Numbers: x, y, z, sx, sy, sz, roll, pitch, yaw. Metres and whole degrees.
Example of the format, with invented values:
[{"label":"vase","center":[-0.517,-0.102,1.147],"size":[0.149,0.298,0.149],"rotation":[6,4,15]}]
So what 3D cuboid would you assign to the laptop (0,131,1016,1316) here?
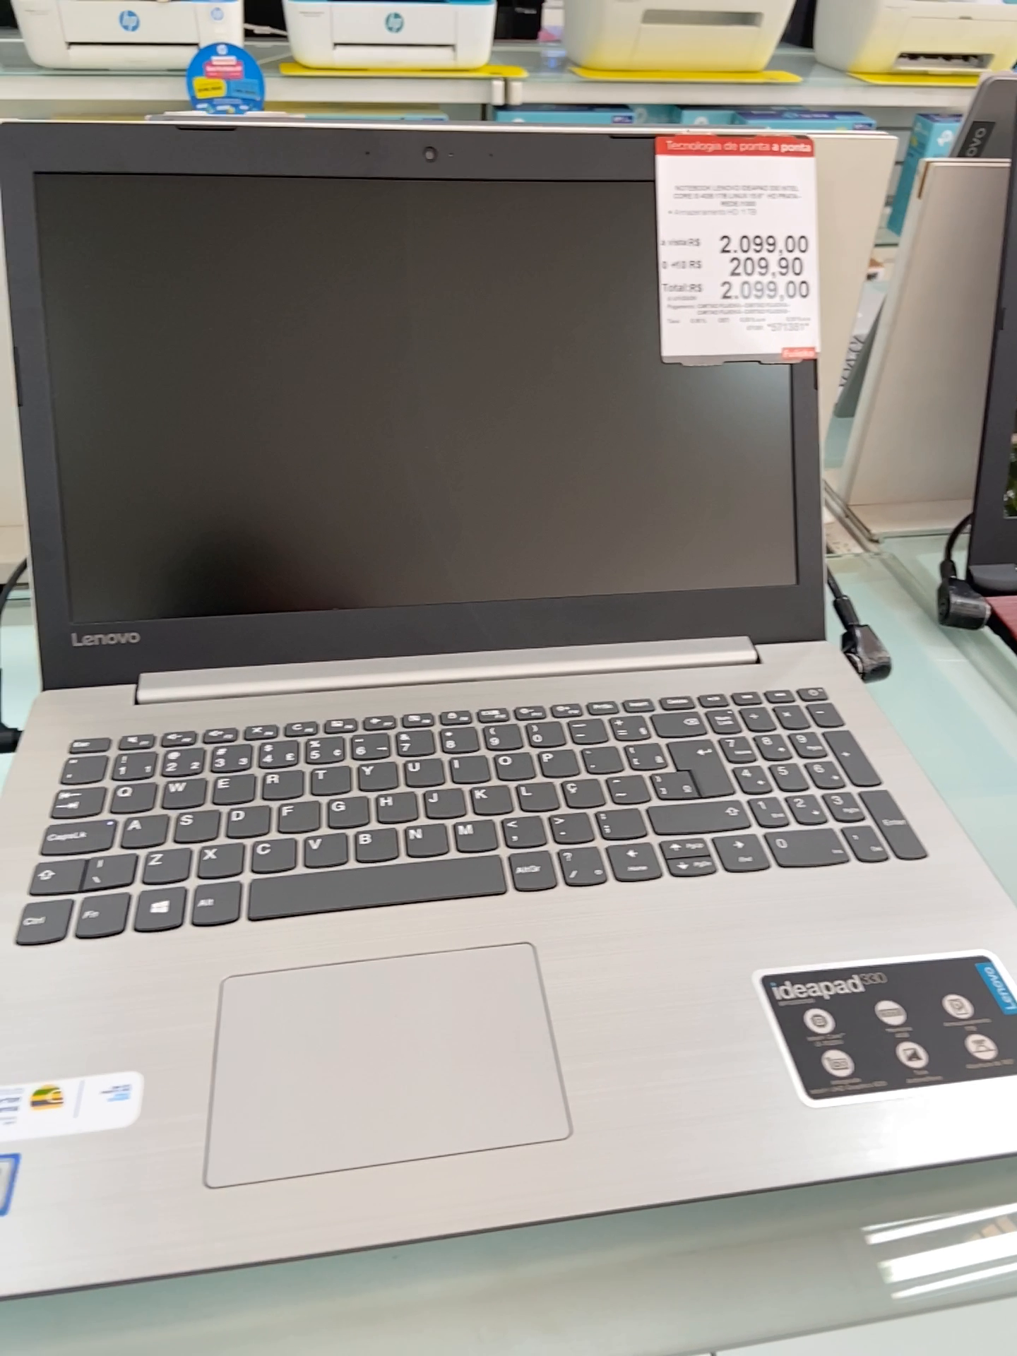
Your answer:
[{"label":"laptop","center":[-0.012,-0.050,0.382],"size":[0.370,0.194,0.391],"rotation":[-4,38,-8]}]
